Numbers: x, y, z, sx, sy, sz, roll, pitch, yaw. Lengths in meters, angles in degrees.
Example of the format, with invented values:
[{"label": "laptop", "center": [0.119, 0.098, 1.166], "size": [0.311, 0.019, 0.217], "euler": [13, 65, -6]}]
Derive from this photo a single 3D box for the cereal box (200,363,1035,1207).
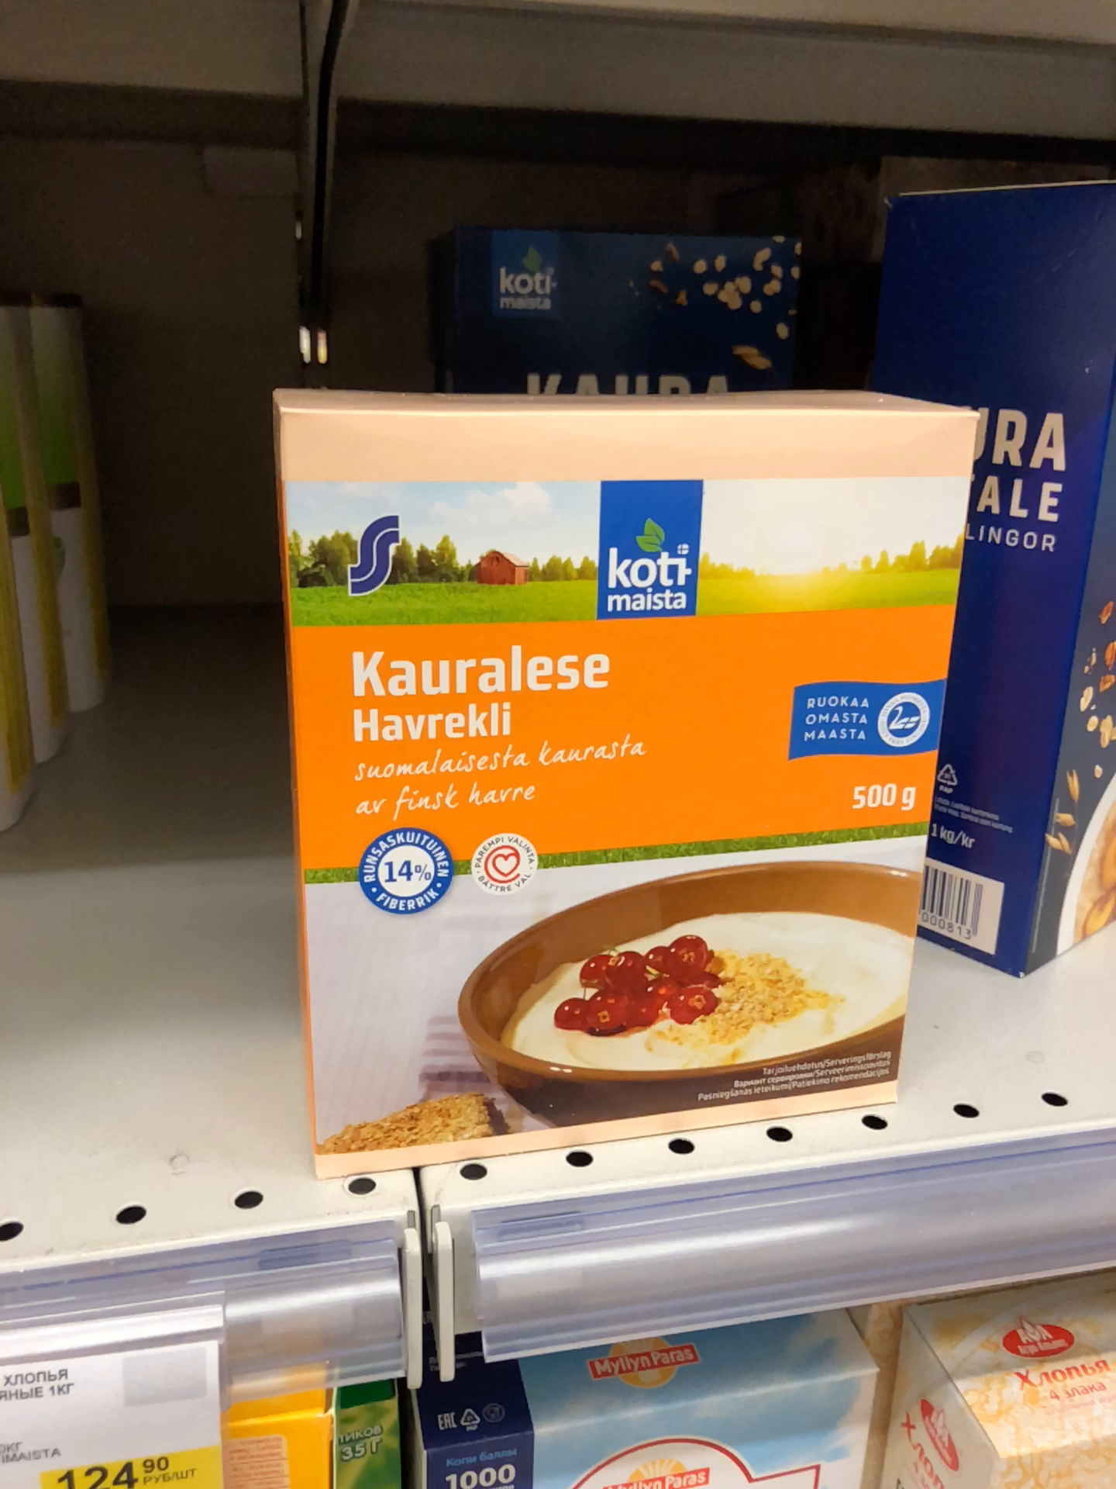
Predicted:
[{"label": "cereal box", "center": [0.007, 0.002, 0.287], "size": [0.160, 0.169, 0.070], "euler": [-3, 19, -13]}]
